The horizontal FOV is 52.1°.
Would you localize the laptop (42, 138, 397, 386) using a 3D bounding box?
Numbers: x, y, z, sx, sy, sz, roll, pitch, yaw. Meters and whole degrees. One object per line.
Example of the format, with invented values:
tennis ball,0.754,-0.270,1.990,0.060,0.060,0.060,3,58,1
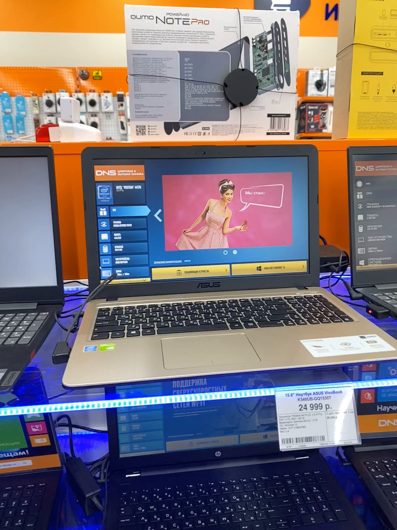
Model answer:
laptop,0.033,-0.039,0.537,0.376,0.230,0.294,-2,14,-7
